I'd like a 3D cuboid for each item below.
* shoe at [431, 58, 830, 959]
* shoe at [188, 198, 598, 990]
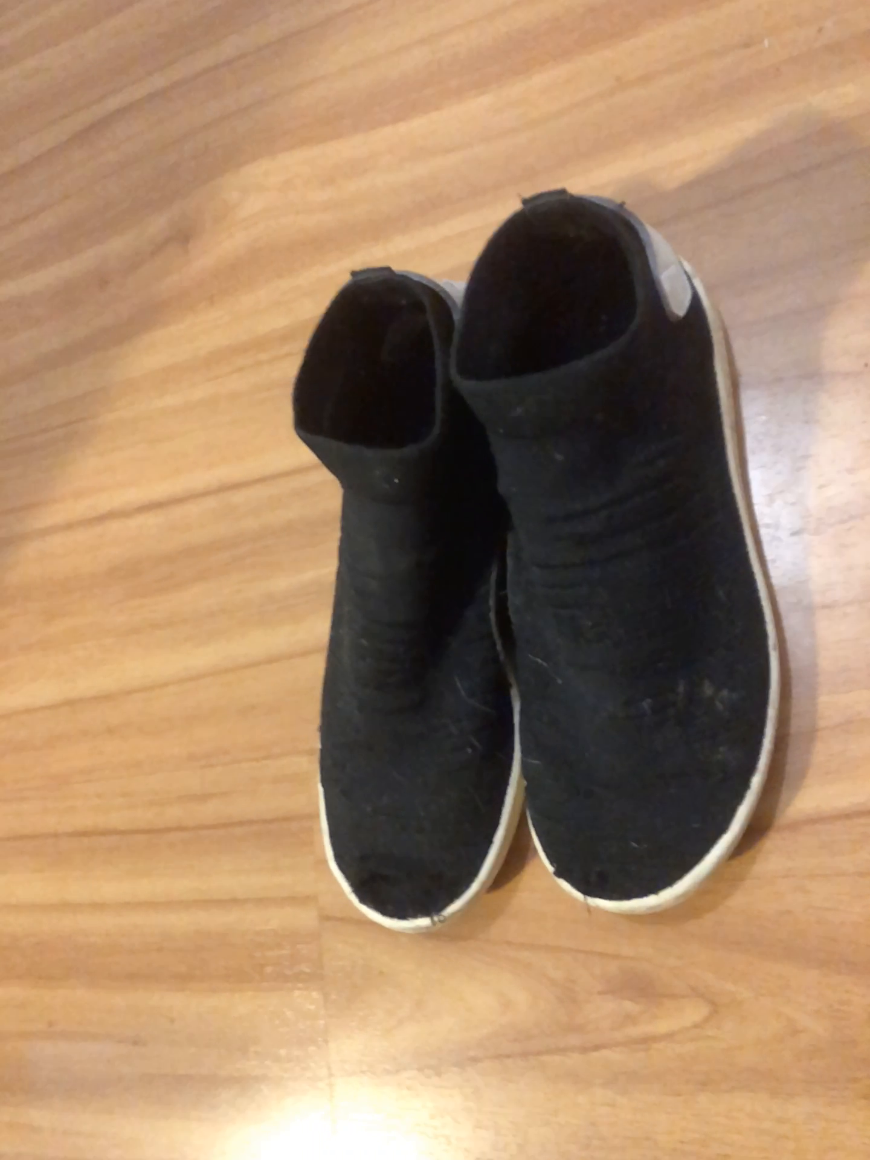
[{"bbox_3d":[0.069,-0.019,0.337,0.100,0.100,0.260,-6,80,25],"label":"shoe"},{"bbox_3d":[-0.009,0.004,0.381,0.100,0.100,0.260,3,84,26],"label":"shoe"}]
